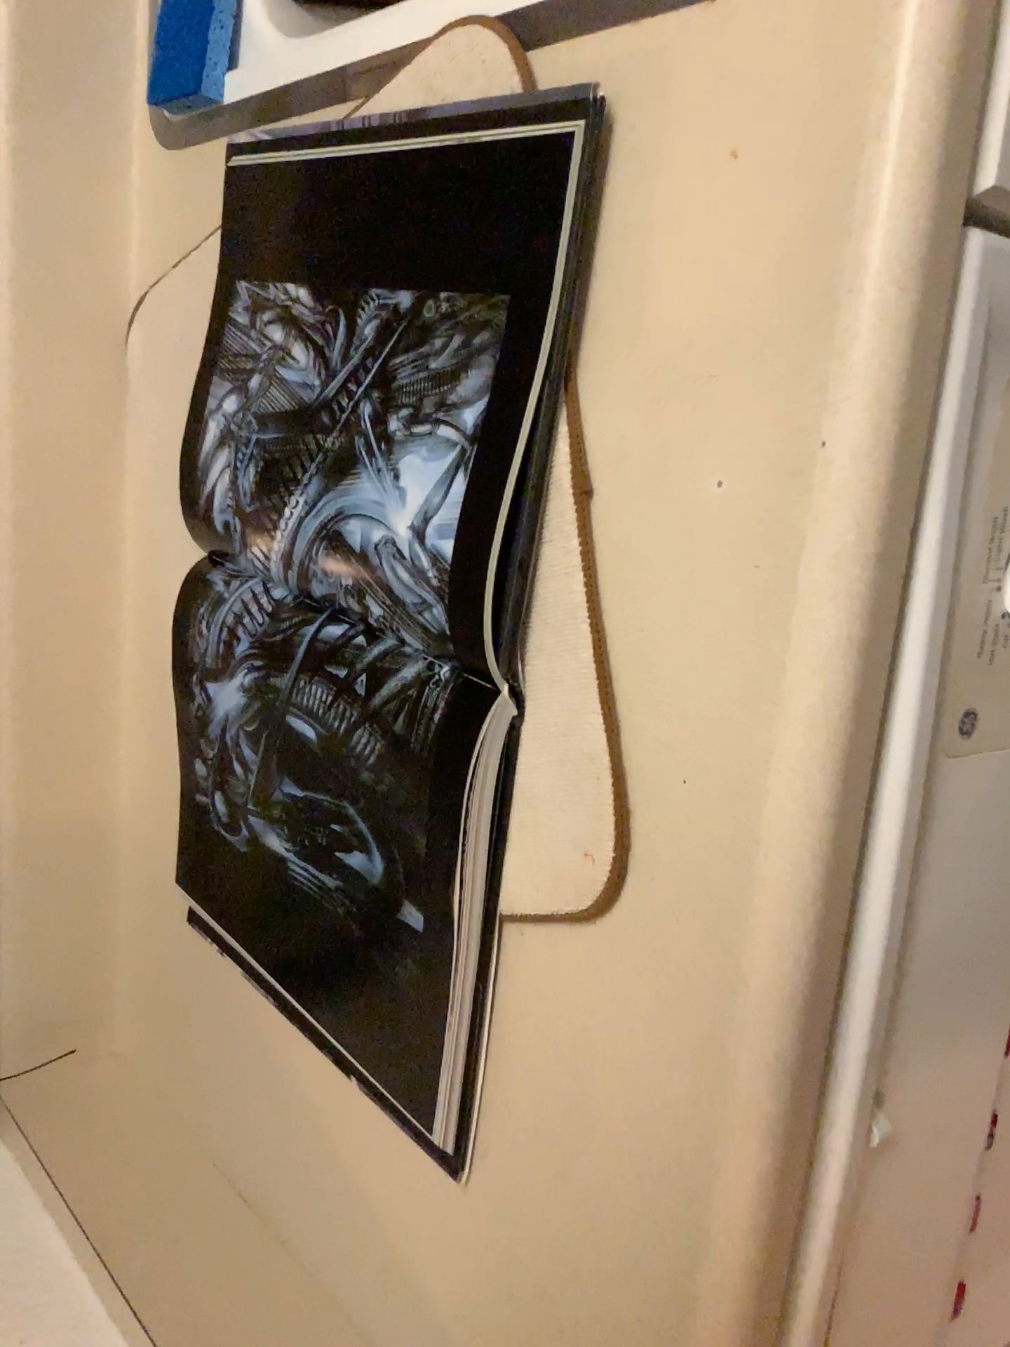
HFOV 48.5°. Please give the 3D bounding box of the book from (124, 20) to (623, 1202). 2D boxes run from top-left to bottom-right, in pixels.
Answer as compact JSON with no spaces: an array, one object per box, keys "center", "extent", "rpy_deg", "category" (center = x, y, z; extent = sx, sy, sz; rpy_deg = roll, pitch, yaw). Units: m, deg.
[{"center":[-0.114,-0.042,0.629],"extent":[0.350,0.040,0.530],"rpy_deg":[23,111,46],"category":"book"}]
